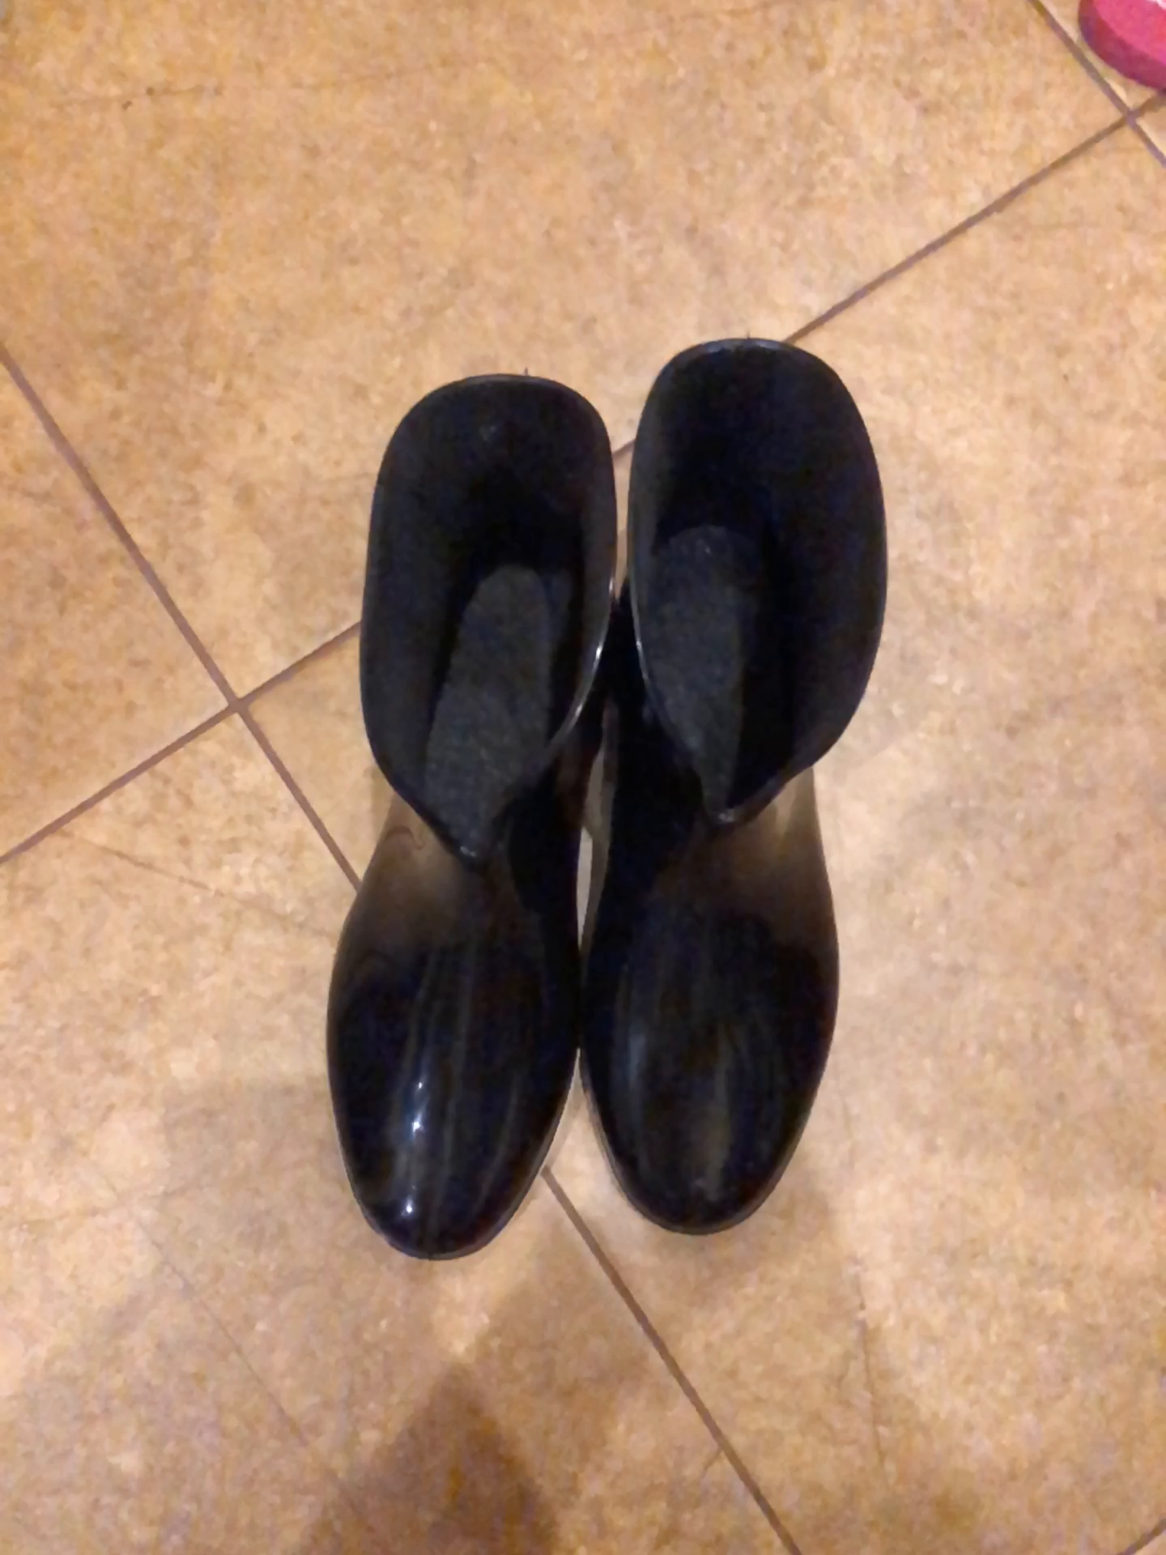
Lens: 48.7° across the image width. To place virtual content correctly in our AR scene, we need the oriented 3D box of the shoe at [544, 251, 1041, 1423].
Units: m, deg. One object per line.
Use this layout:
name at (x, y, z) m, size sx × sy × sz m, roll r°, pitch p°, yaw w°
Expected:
shoe at (0.048, 0.021, 0.421) m, size 0.110 × 0.230 × 0.280 m, roll 0°, pitch 81°, yaw 0°

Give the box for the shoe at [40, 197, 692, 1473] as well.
shoe at (-0.043, 0.019, 0.406) m, size 0.110 × 0.230 × 0.280 m, roll 6°, pitch 81°, yaw 1°
